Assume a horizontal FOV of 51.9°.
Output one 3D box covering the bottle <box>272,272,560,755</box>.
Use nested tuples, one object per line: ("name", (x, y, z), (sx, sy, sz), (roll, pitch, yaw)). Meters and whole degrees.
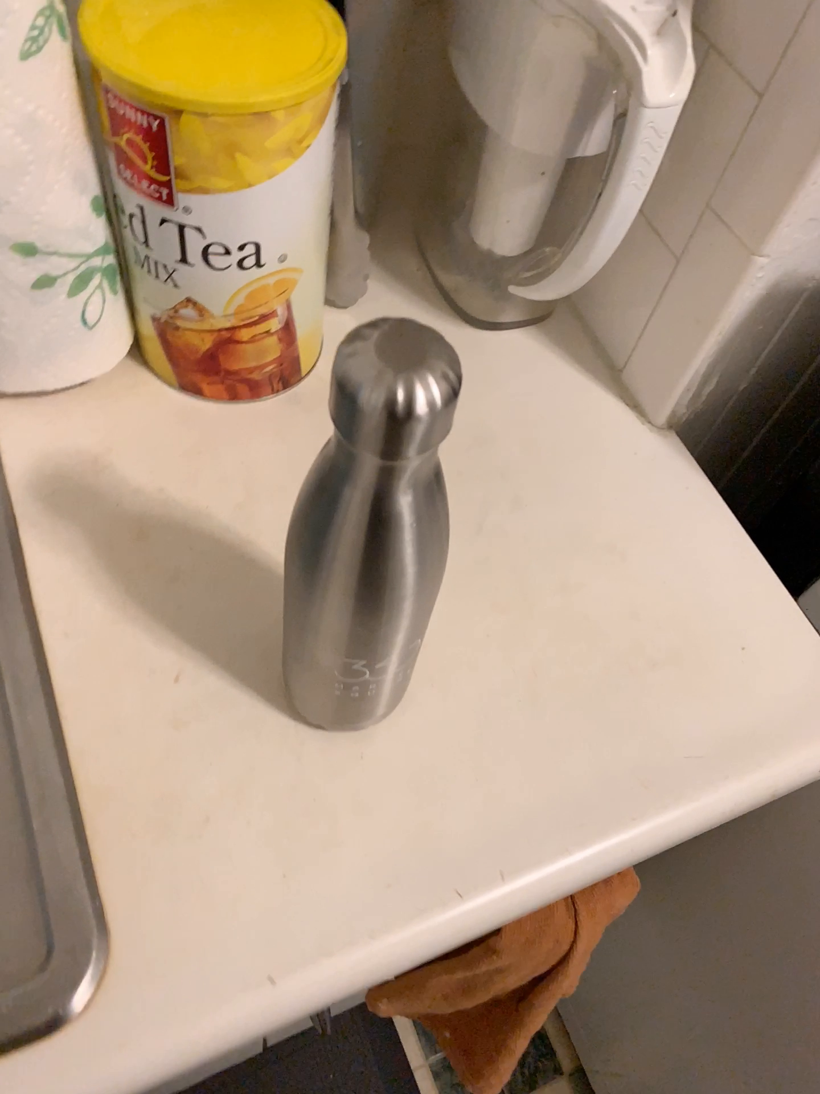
("bottle", (-0.017, 0.008, 0.362), (0.070, 0.249, 0.070), (5, 57, -7))
